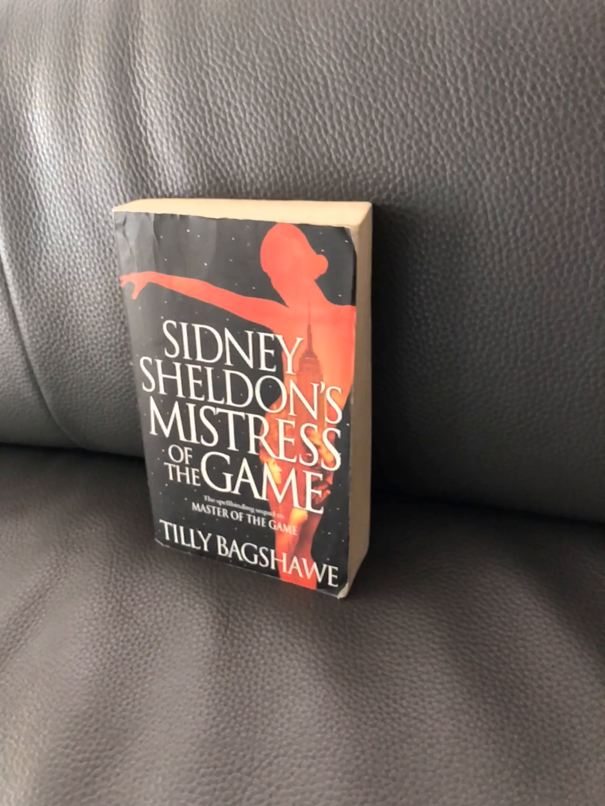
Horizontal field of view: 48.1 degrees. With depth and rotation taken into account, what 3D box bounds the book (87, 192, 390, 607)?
[{"bbox_3d":[-0.023,-0.002,0.322,0.119,0.179,0.046,9,29,23],"label":"book"}]
